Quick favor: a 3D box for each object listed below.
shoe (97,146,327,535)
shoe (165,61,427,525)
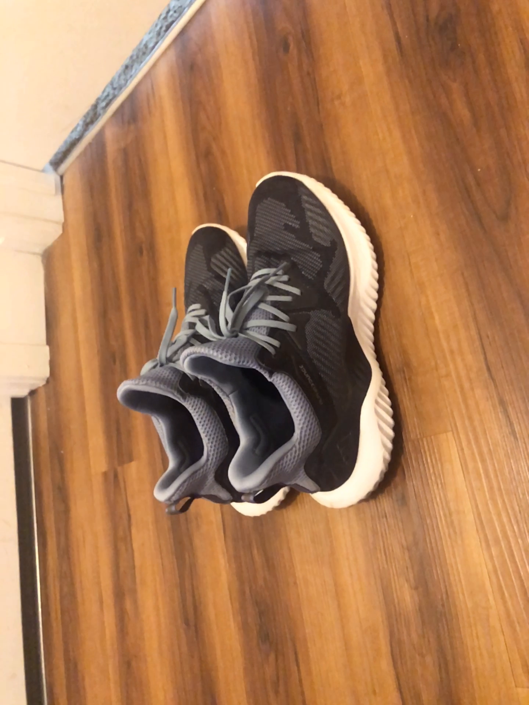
[{"bbox_3d":[-0.060,-0.005,0.580,0.133,0.134,0.333,-23,70,45],"label":"shoe"},{"bbox_3d":[0.018,-0.036,0.492,0.132,0.130,0.334,-18,74,46],"label":"shoe"}]
